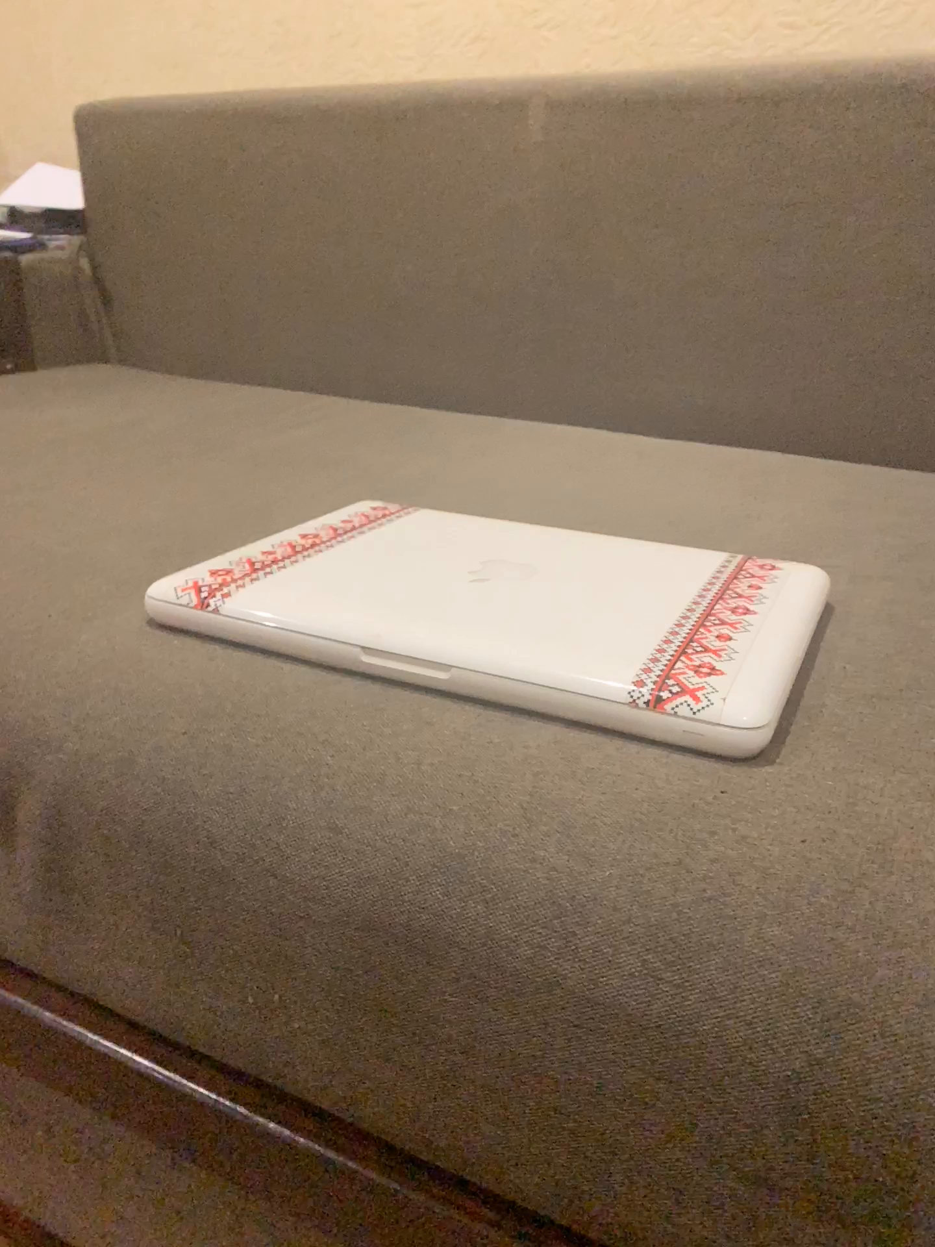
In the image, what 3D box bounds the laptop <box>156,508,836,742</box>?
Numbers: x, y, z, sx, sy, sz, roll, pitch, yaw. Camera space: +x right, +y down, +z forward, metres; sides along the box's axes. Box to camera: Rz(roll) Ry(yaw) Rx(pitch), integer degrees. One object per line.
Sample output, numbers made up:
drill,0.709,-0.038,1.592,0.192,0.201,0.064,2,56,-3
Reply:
laptop,0.028,-0.018,0.556,0.325,0.003,0.223,11,24,23
